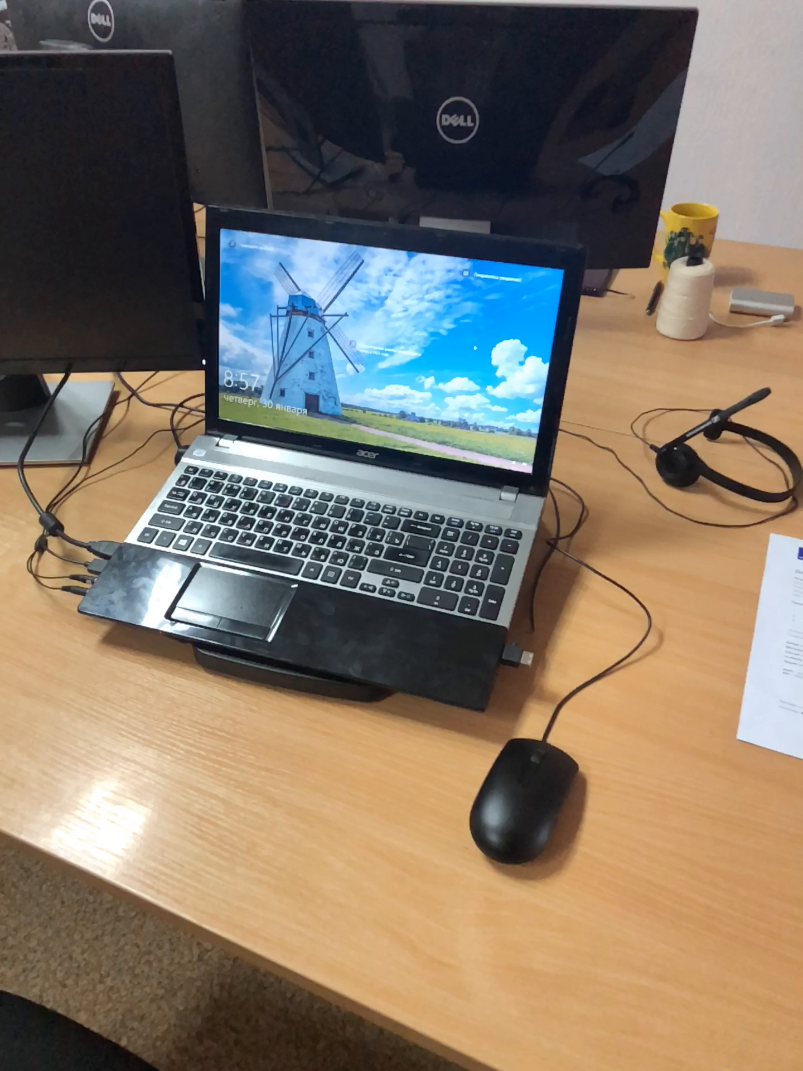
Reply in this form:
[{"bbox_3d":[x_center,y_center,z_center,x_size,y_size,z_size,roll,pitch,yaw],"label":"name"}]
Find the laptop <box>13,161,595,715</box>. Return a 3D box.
[{"bbox_3d":[-0.058,-0.114,0.783,0.374,0.211,0.361,11,49,14],"label":"laptop"}]
